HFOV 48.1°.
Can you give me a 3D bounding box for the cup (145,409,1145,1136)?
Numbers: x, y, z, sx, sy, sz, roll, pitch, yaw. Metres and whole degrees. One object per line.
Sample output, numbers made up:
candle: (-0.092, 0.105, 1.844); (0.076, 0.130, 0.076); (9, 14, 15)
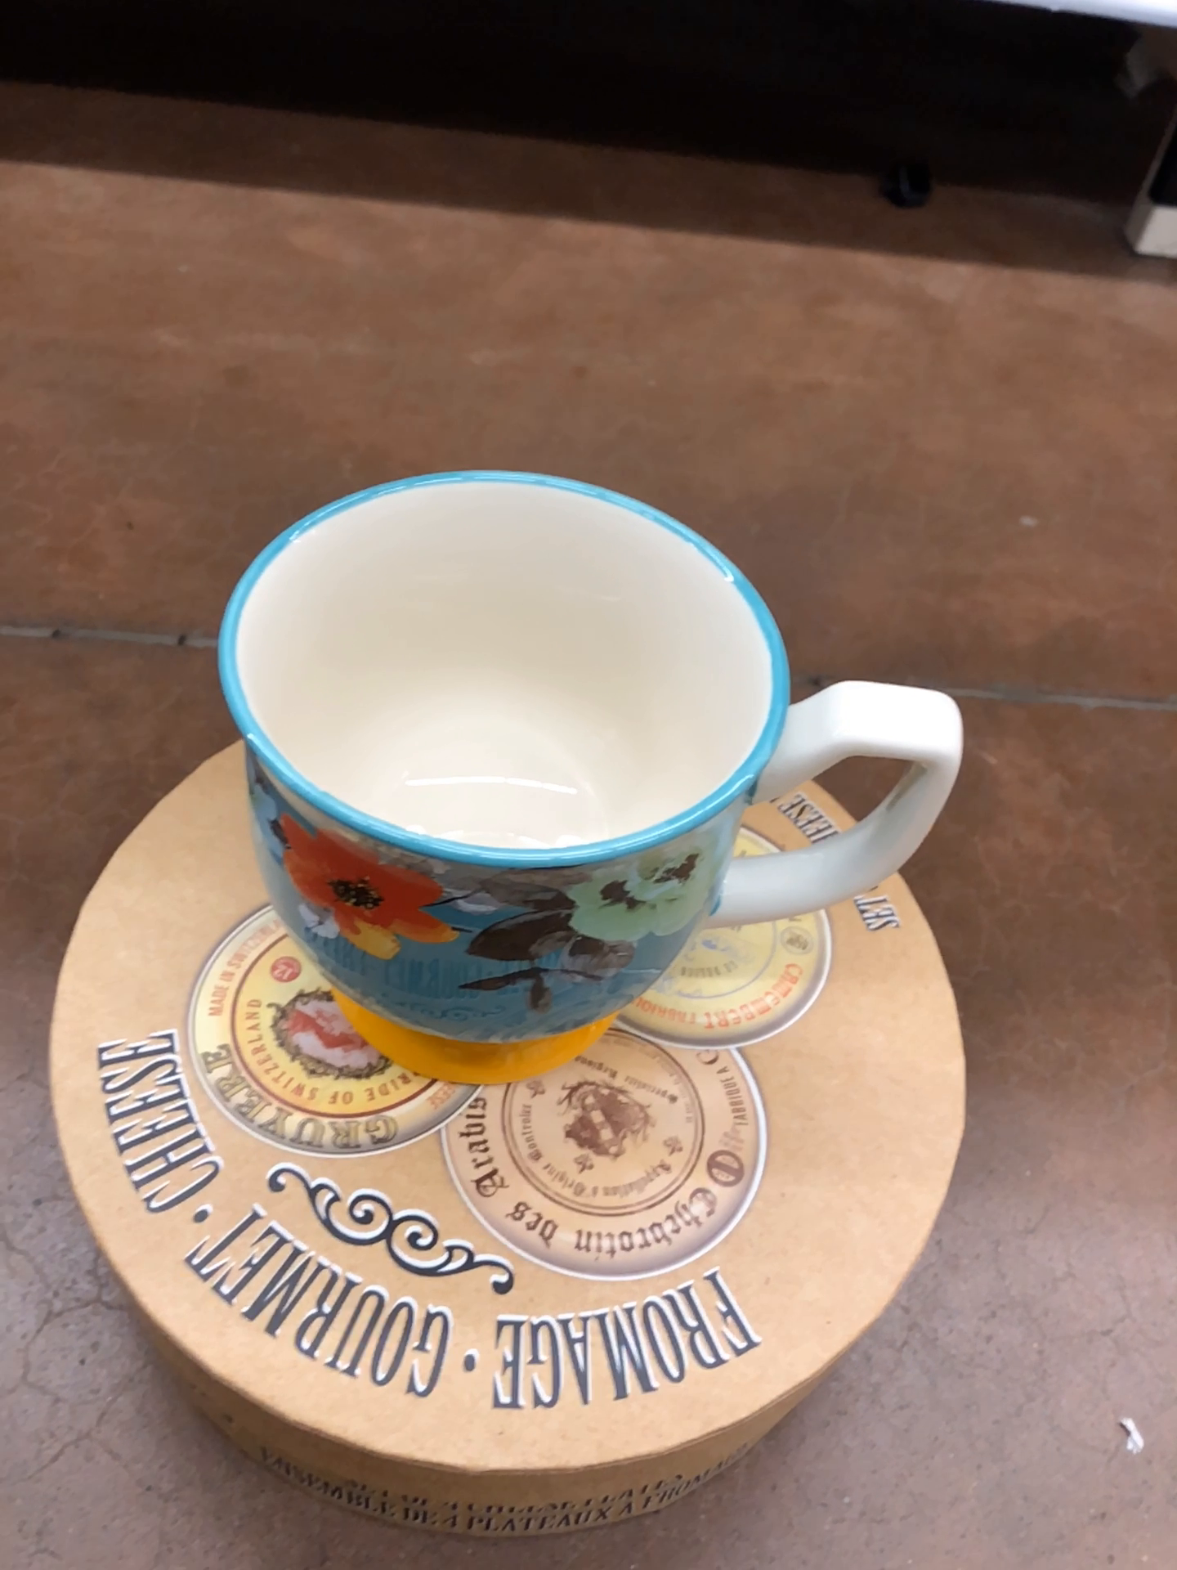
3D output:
cup: (0.007, -0.002, 0.243); (0.140, 0.080, 0.090); (6, 47, -3)
